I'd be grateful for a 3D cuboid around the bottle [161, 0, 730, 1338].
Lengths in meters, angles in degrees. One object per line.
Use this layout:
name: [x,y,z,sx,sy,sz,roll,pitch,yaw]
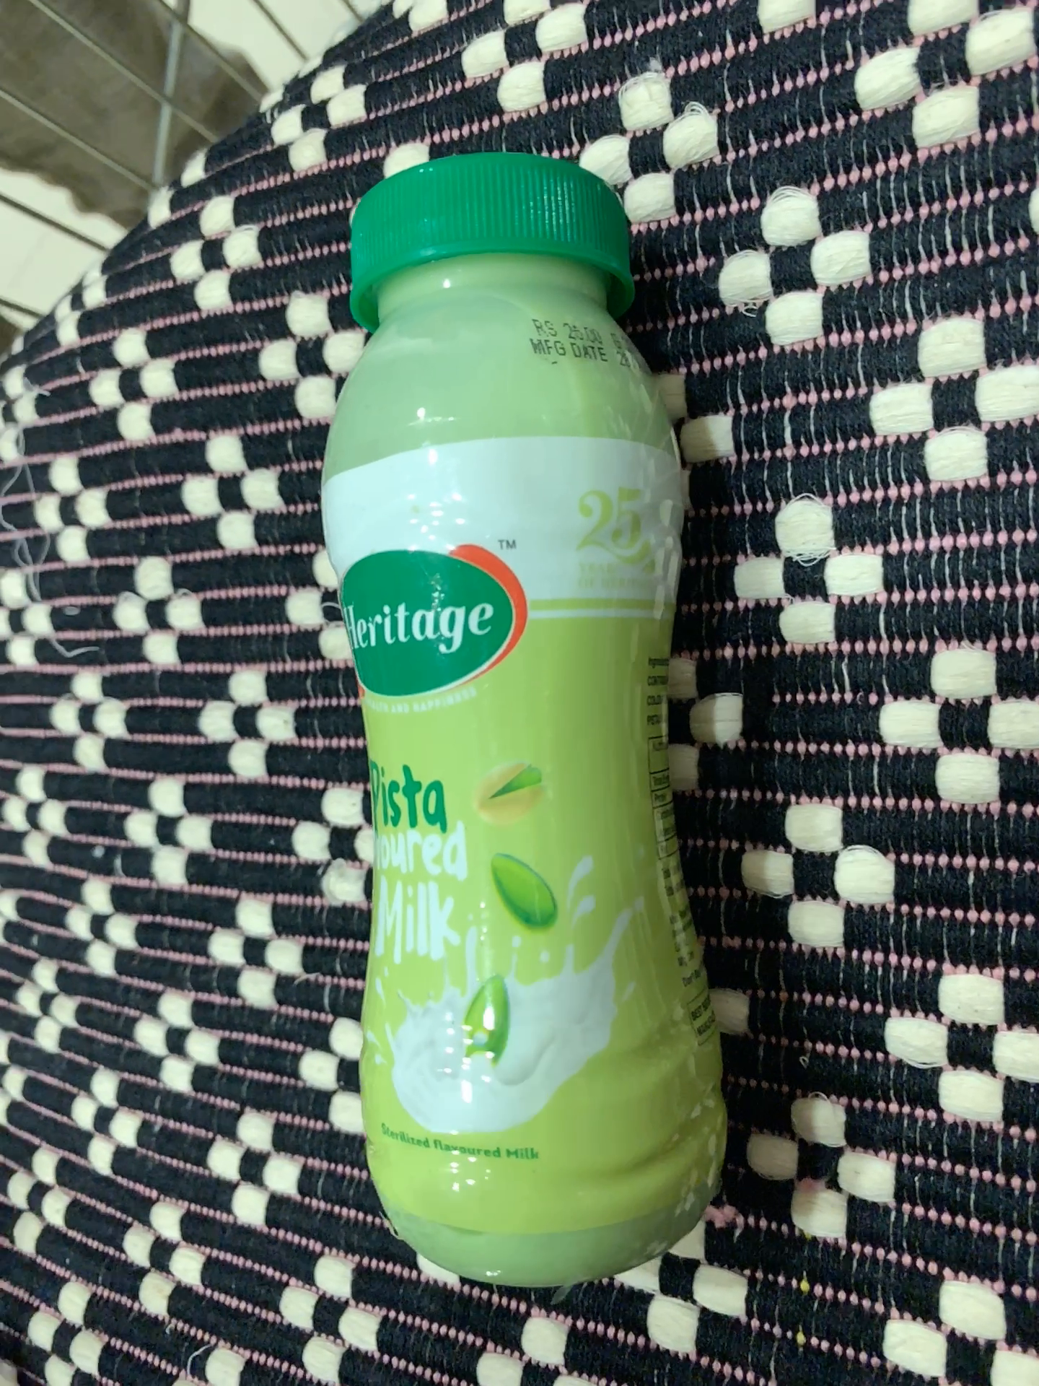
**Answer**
bottle: [-0.009,-0.010,0.145,0.050,0.050,0.150,-5,86,30]
